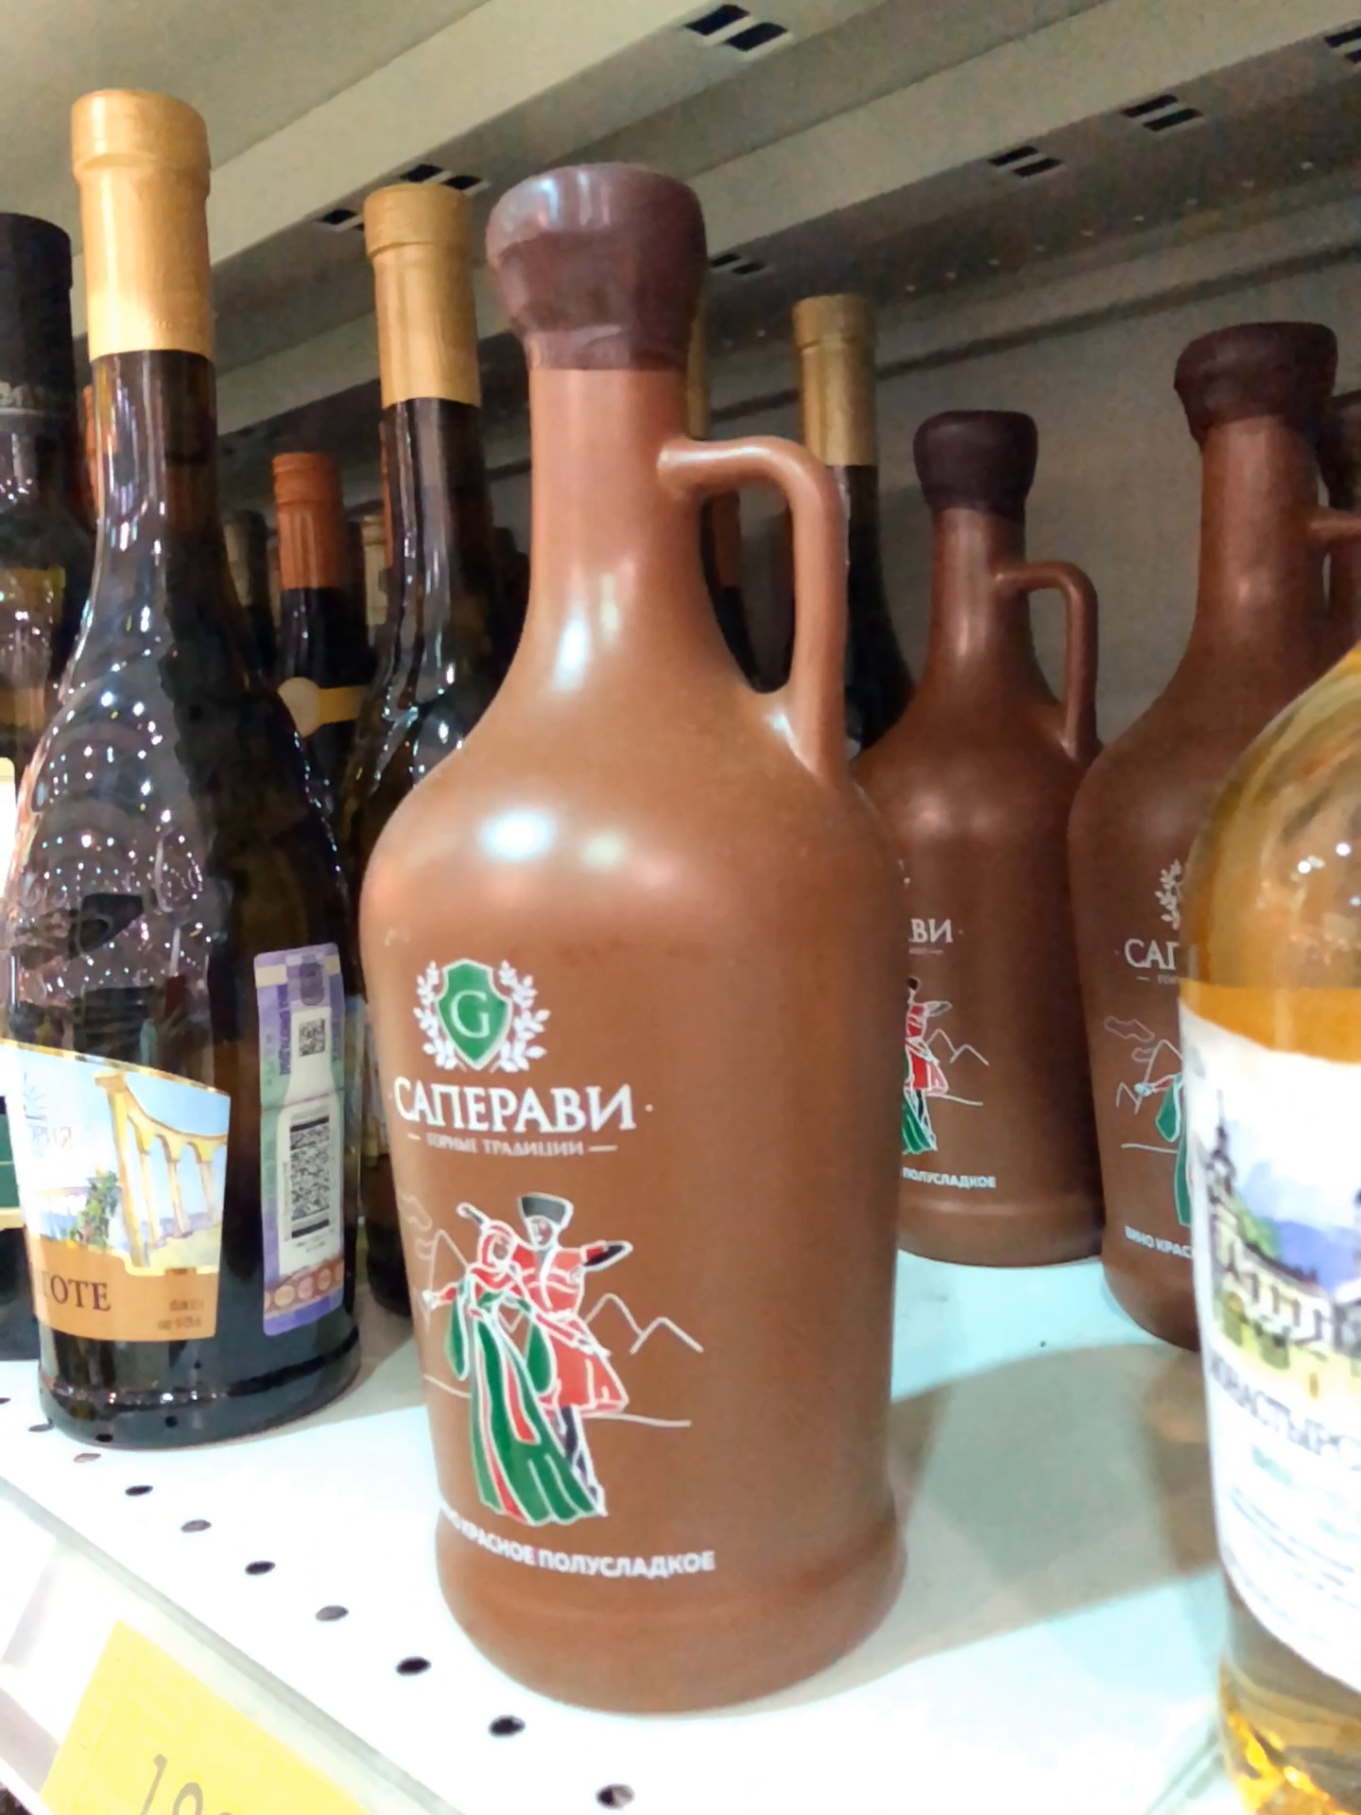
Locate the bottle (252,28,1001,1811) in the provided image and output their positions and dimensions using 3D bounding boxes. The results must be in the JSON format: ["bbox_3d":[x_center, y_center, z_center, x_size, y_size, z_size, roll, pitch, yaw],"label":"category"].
[{"bbox_3d":[-0.004,0.002,0.270,0.090,0.250,0.090,-2,4,0],"label":"bottle"}]
